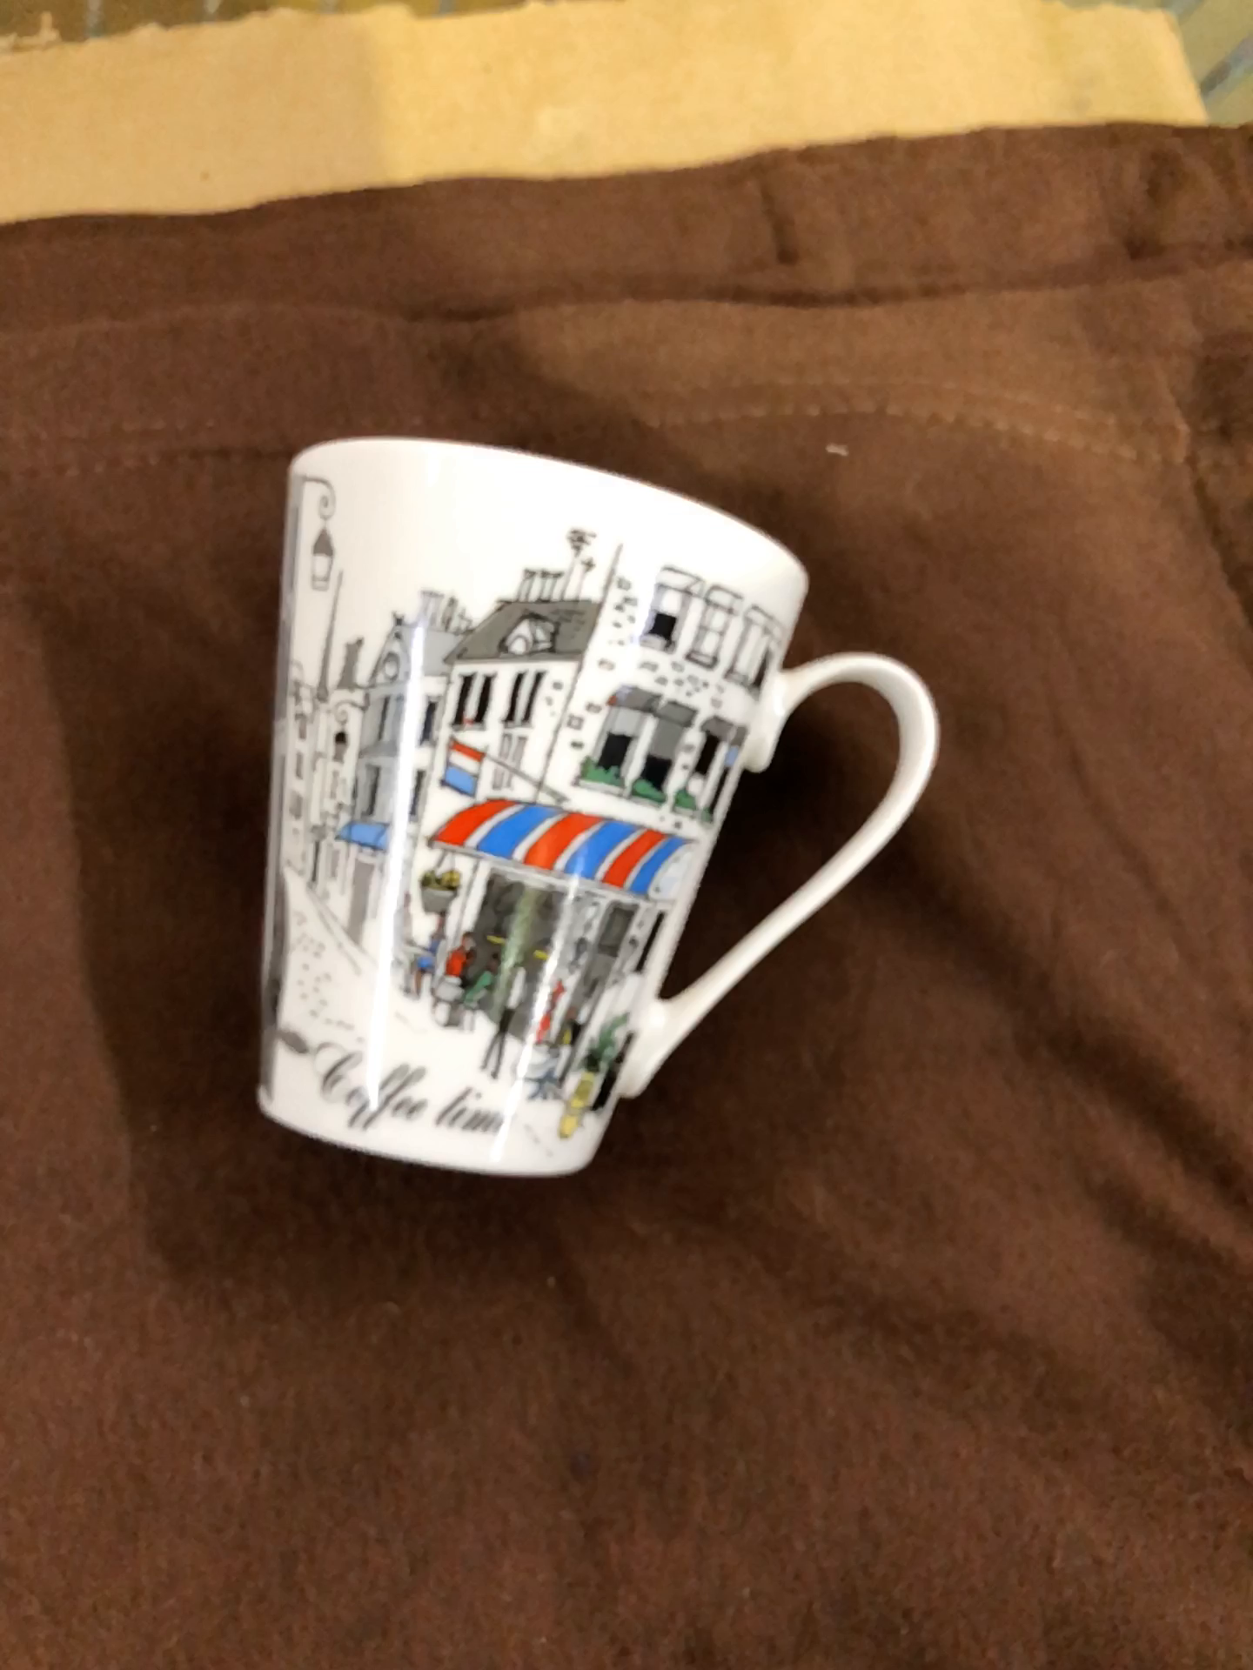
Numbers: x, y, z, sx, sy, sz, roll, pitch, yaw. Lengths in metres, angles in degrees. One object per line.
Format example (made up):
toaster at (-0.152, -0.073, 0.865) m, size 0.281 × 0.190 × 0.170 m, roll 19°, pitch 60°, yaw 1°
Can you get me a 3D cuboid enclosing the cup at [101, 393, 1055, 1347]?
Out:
cup at (-0.007, 0.007, 0.233) m, size 0.110 × 0.080 × 0.110 m, roll 0°, pitch 87°, yaw -5°
